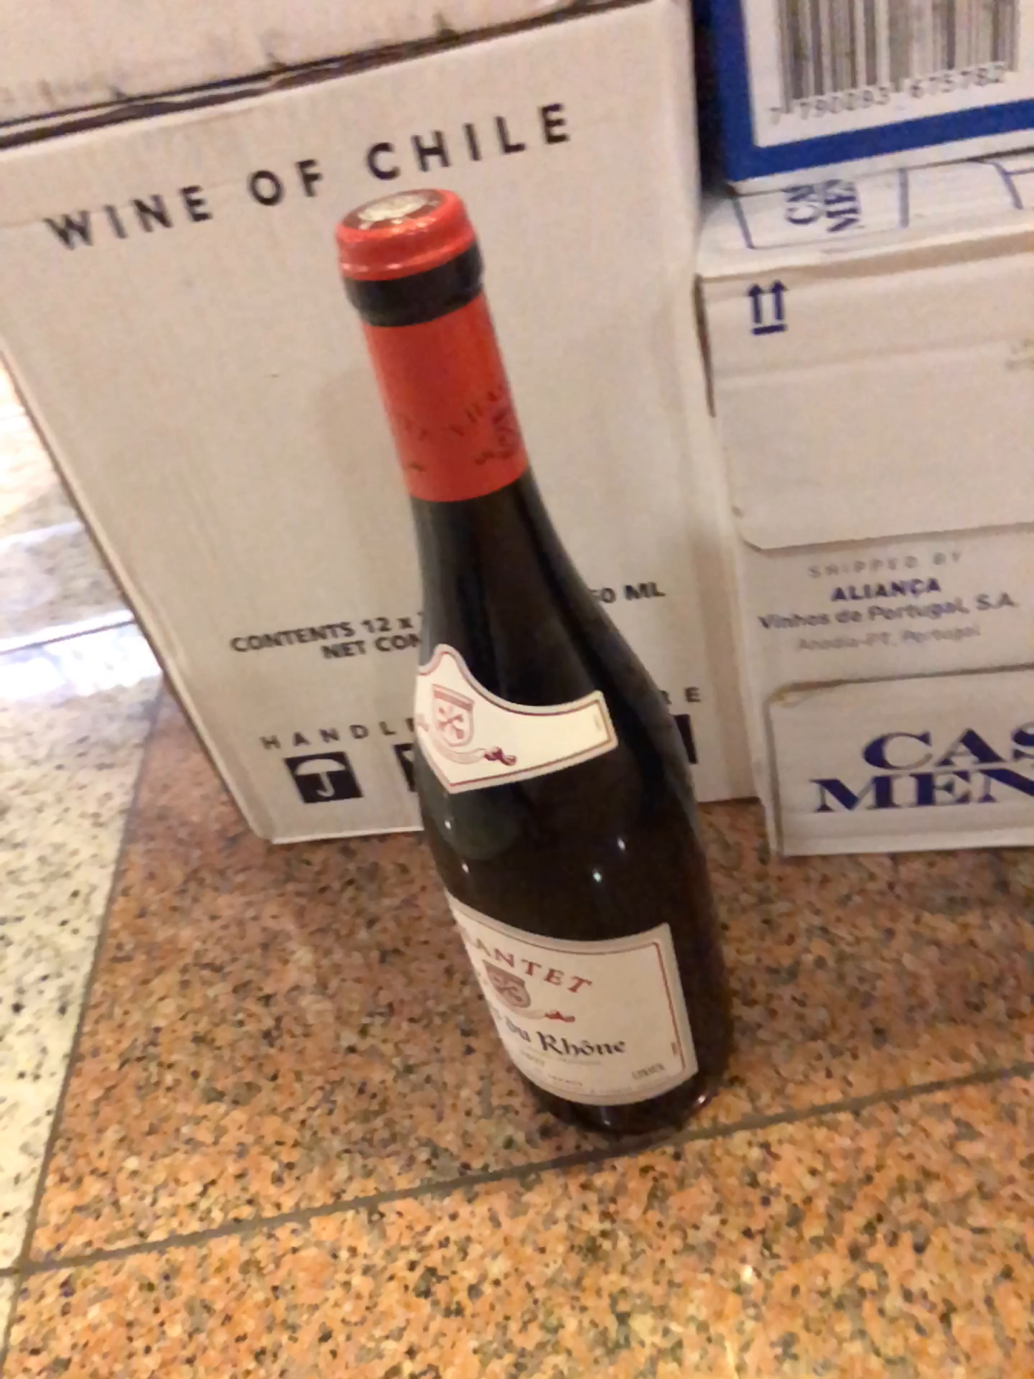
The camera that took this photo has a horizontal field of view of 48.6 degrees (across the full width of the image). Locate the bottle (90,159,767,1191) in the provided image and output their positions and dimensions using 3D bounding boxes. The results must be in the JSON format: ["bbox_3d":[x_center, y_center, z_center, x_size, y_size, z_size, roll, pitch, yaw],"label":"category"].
[{"bbox_3d":[0.000,0.016,0.325,0.090,0.288,0.080,14,47,33],"label":"bottle"}]
